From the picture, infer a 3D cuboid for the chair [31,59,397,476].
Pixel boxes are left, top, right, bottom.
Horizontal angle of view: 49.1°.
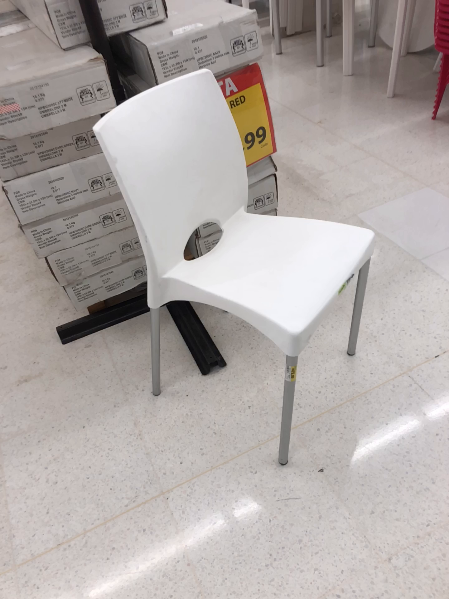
[{"bbox_3d":[0.029,-0.095,1.250,0.562,0.794,0.502,21,49,31],"label":"chair"}]
